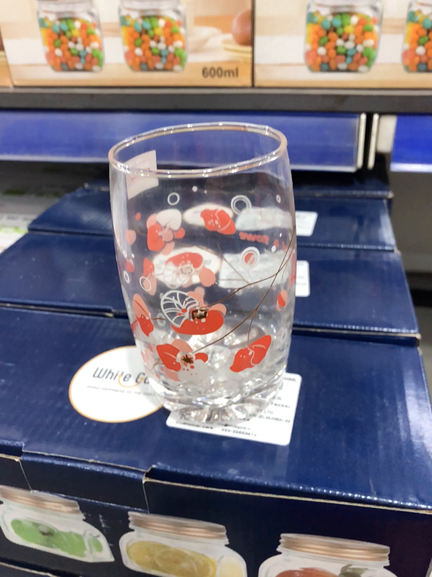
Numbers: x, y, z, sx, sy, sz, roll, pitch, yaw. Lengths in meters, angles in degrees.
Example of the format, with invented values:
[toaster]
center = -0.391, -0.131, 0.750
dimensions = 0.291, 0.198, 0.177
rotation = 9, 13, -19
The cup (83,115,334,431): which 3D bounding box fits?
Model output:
[cup]
center = -0.001, -0.007, 0.193
dimensions = 0.070, 0.099, 0.070
rotation = -2, 32, 1
